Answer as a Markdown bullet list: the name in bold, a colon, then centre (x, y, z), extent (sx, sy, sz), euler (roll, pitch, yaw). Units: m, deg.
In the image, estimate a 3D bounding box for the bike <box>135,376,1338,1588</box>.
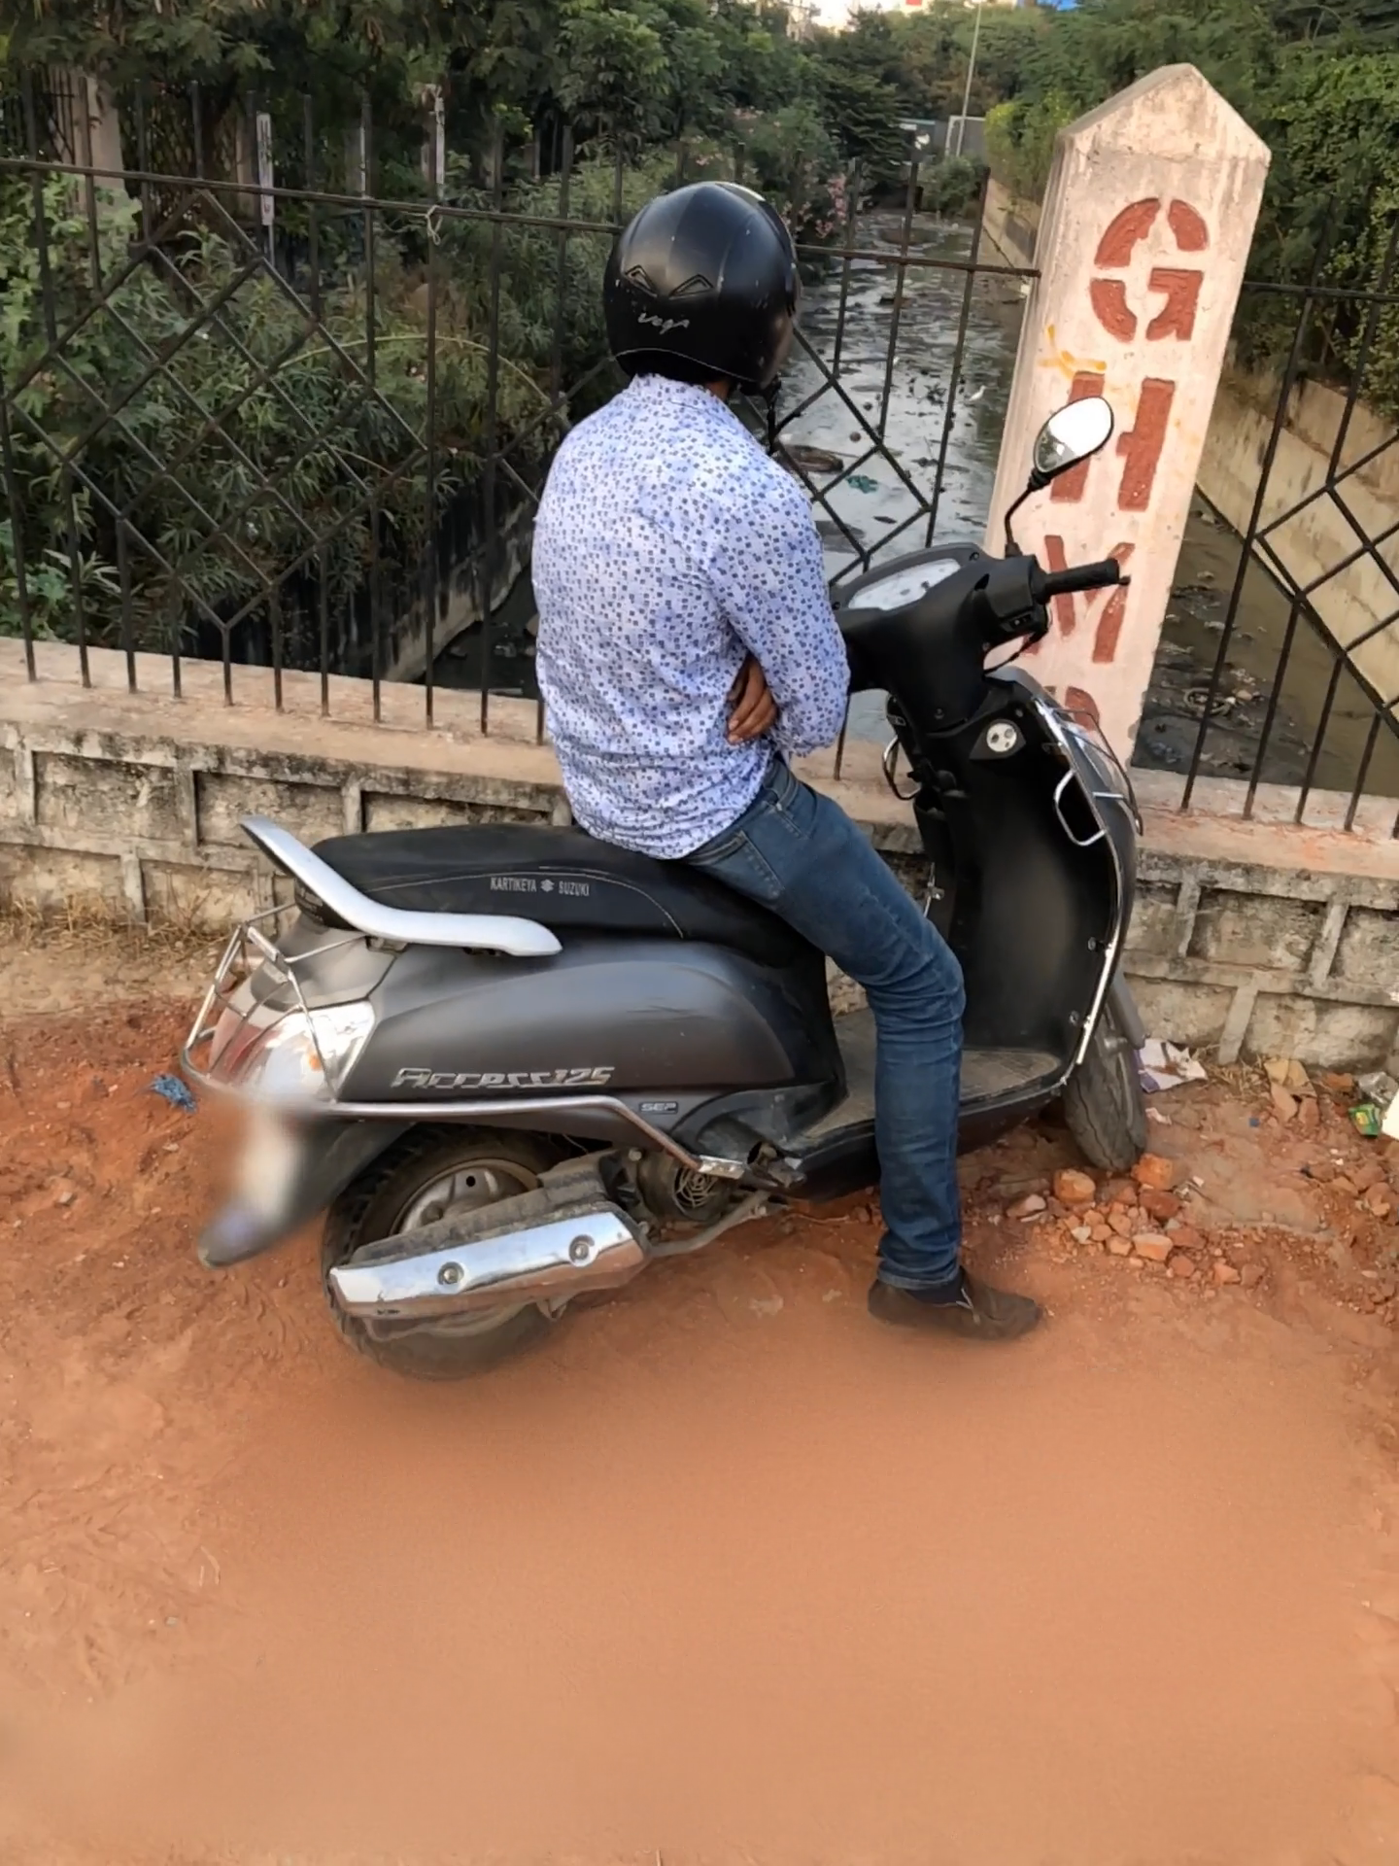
- **bike**: centre (0.080, -0.092, 2.460), extent (1.583, 1.216, 0.799), euler (-22, 38, -36)
